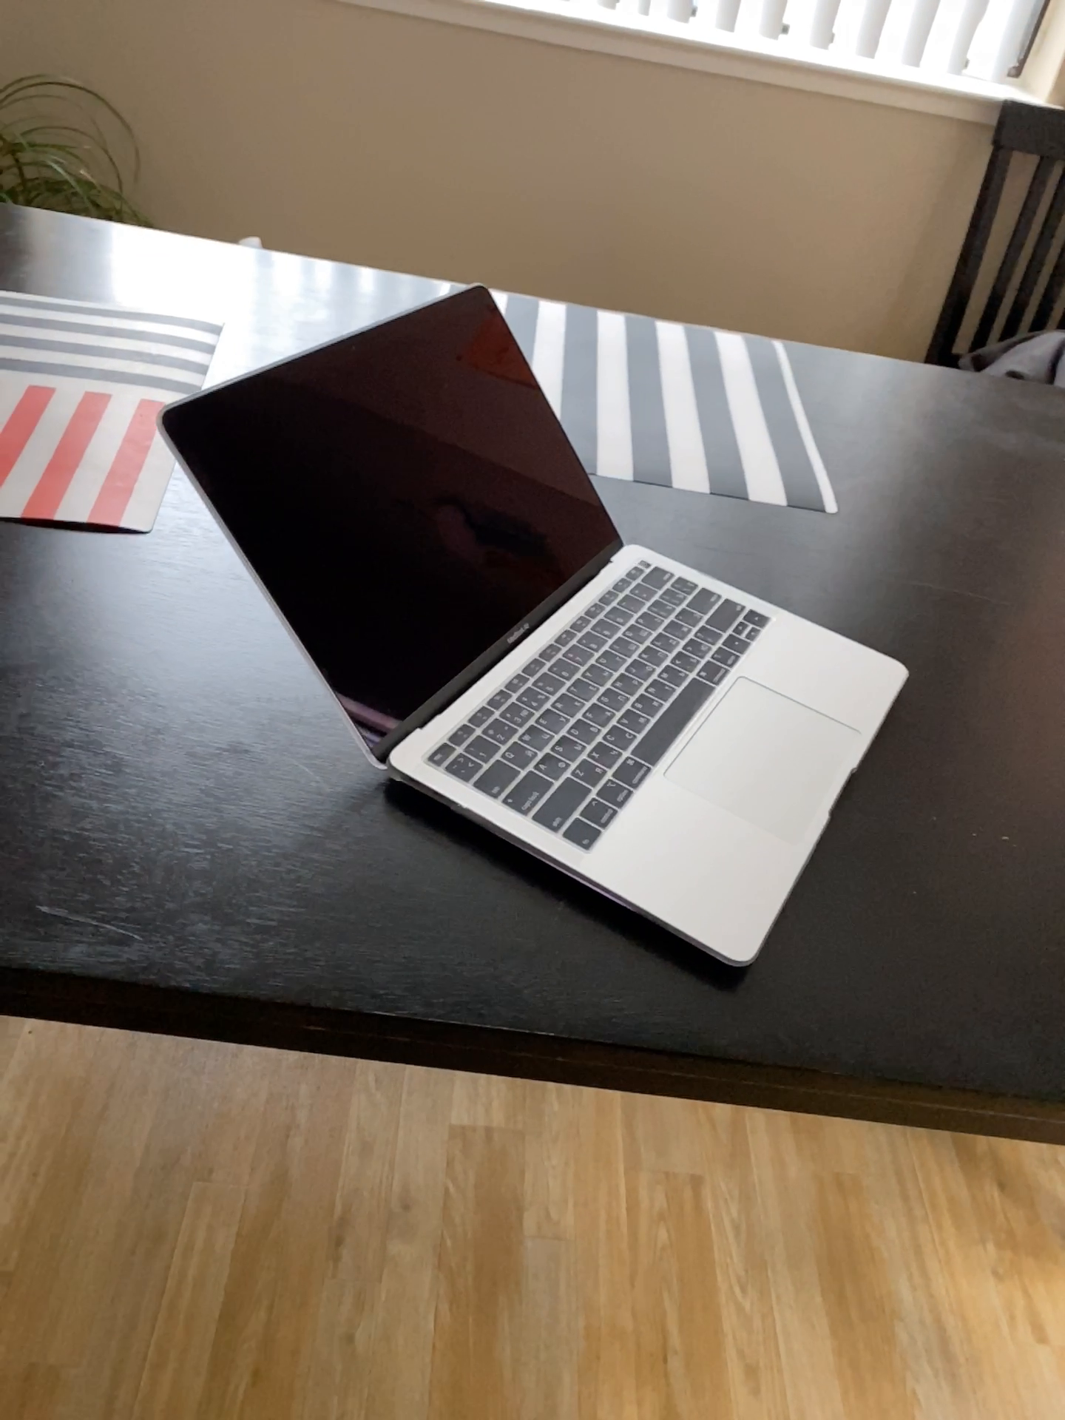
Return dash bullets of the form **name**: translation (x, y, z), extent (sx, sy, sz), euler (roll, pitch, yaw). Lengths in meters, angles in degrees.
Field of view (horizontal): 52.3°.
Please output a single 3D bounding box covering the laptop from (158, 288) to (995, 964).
- **laptop**: translation (0.033, -0.084, 0.628), extent (0.361, 0.139, 0.298), euler (27, 42, 17)
